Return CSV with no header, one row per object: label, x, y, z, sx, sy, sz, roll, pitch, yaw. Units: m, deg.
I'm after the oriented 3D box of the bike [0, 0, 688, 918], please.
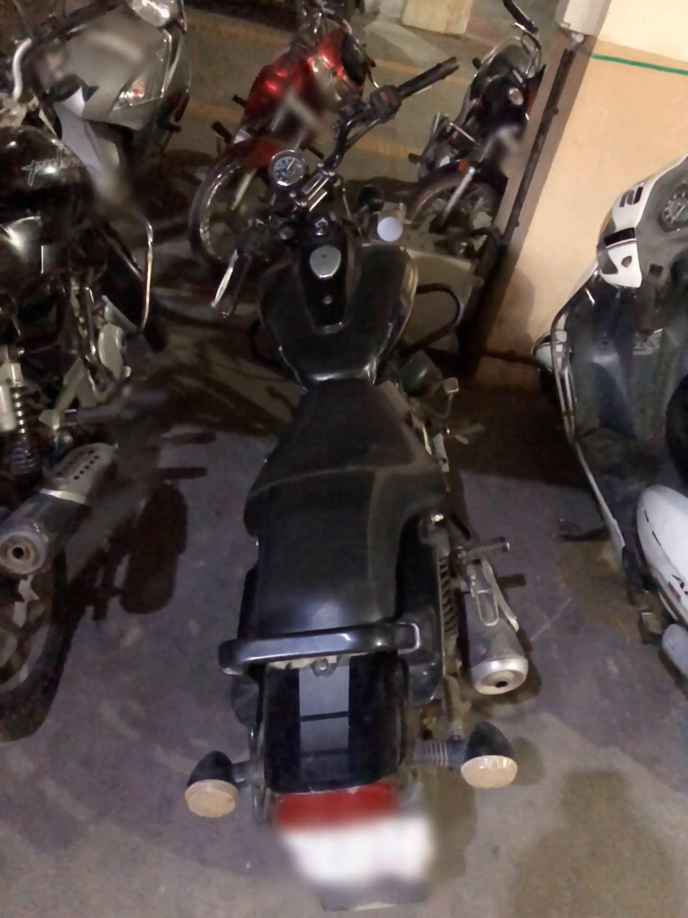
bike,-0.136,-0.168,1.583,0.863,1.251,1.677,4,41,-11
